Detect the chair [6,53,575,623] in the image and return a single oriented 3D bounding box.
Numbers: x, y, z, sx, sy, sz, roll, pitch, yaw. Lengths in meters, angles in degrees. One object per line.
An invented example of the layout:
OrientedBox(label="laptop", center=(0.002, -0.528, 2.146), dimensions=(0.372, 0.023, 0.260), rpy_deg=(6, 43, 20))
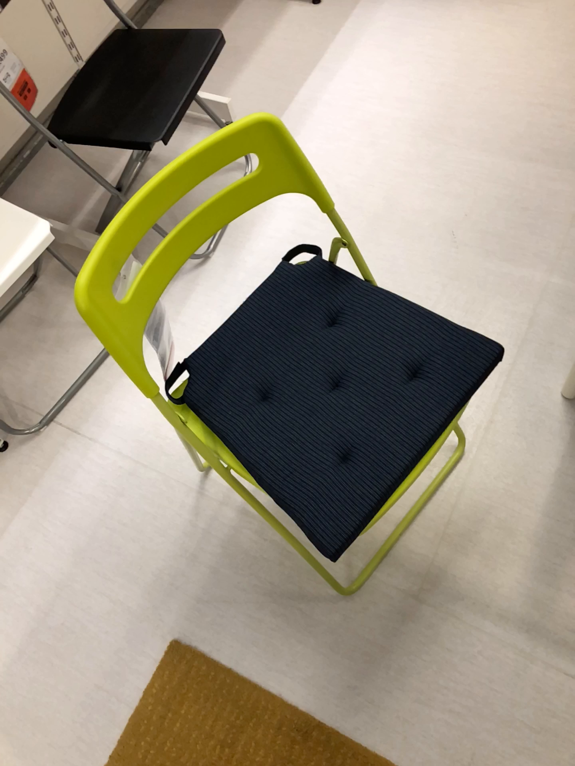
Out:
OrientedBox(label="chair", center=(0.050, -0.017, 0.992), dimensions=(0.461, 0.637, 0.491), rpy_deg=(35, 75, 25))
